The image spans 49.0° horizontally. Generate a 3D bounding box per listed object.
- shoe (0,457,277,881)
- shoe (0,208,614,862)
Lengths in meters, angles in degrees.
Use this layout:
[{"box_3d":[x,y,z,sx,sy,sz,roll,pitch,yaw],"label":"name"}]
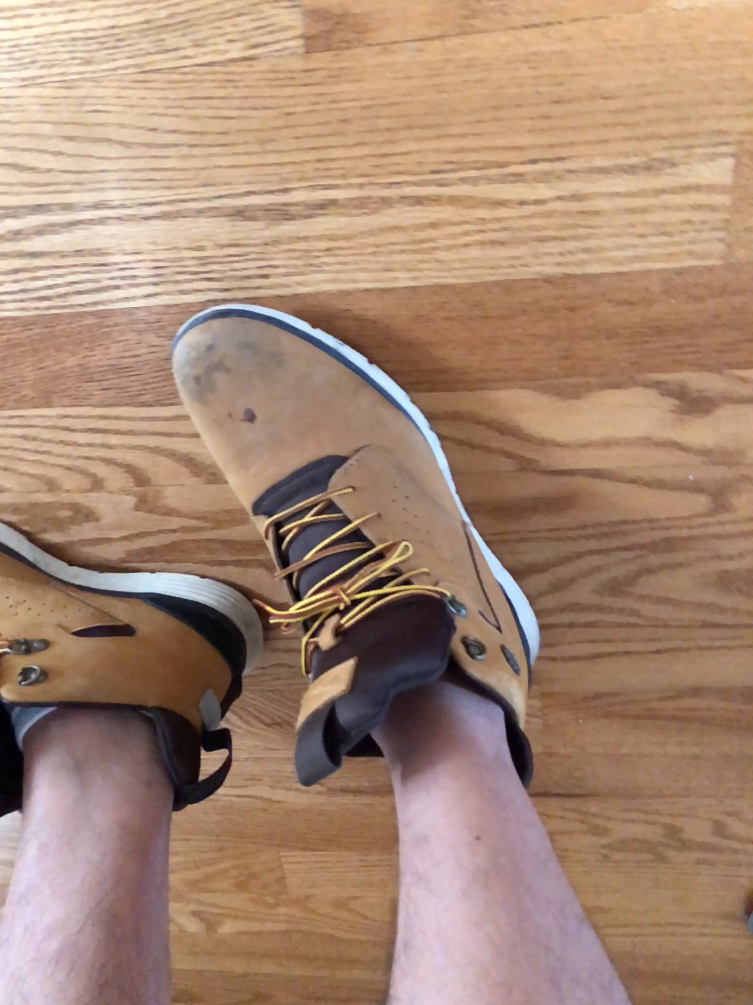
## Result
[{"box_3d":[-0.248,0.097,0.548,0.320,0.140,0.130,16,120,9],"label":"shoe"},{"box_3d":[-0.022,0.030,0.444,0.130,0.169,0.300,-32,121,24],"label":"shoe"}]
